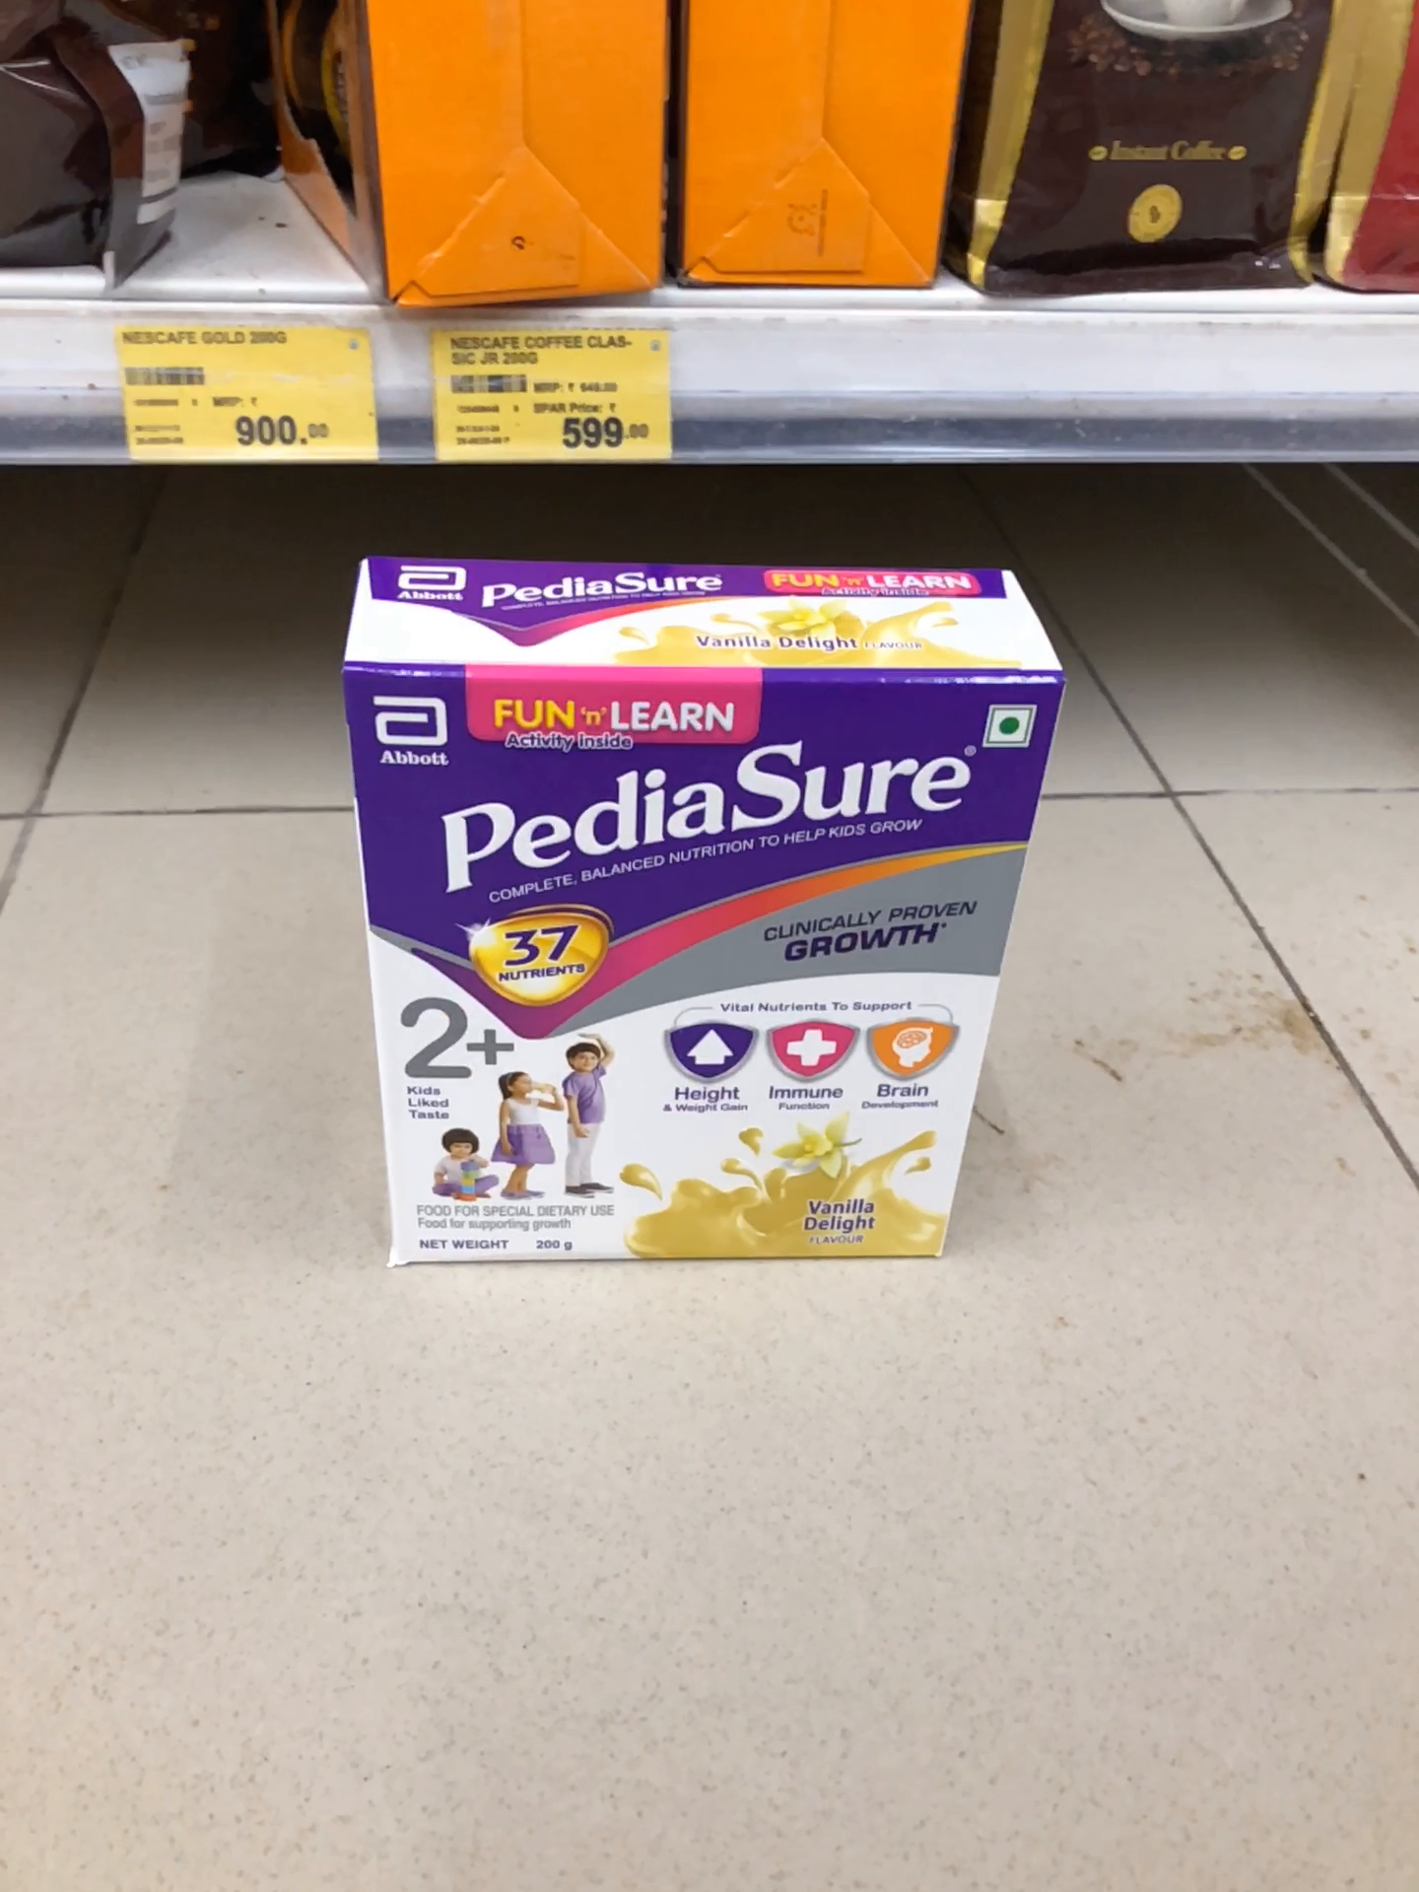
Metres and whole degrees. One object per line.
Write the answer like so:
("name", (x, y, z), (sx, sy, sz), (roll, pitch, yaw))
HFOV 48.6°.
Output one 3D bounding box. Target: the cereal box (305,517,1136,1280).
("cereal box", (-0.002, -0.003, 0.332), (0.140, 0.159, 0.050), (0, 38, -5))
